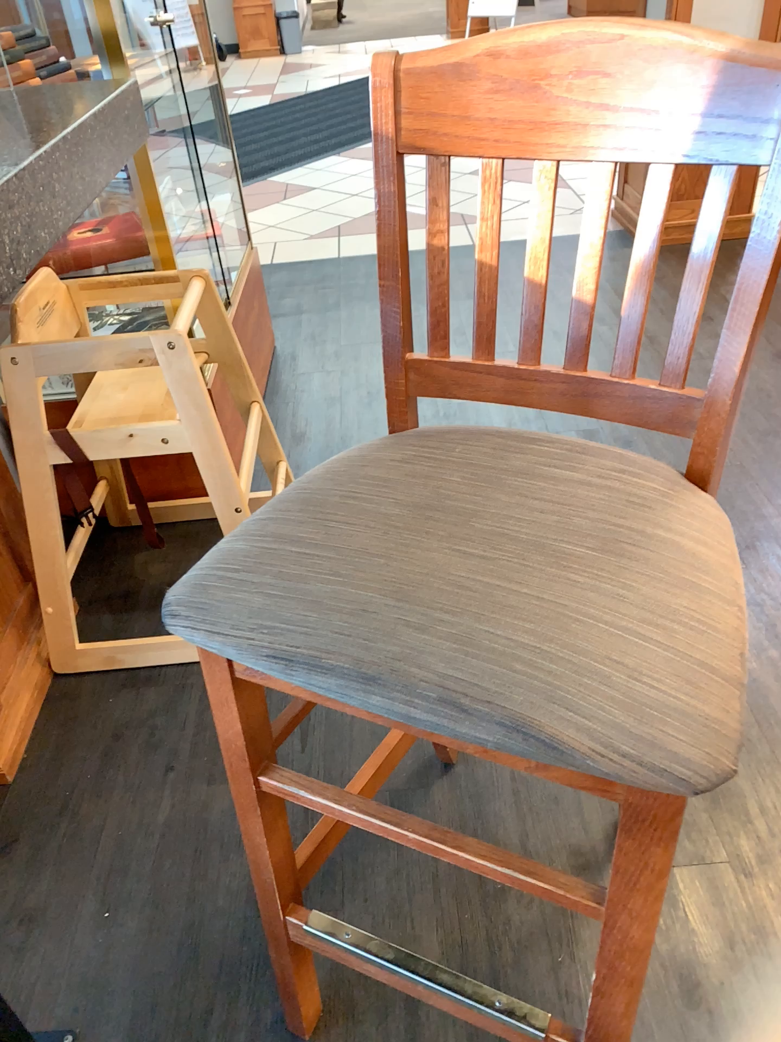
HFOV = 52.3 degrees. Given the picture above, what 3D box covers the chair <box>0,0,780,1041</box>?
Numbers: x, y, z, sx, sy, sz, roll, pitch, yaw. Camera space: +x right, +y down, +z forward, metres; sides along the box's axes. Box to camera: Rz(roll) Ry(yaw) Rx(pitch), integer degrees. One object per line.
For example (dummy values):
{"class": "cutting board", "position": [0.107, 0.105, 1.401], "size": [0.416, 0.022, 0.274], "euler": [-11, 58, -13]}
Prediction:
{"class": "chair", "position": [0.069, 0.085, 0.886], "size": [0.601, 1.045, 0.662], "euler": [14, 41, 24]}
